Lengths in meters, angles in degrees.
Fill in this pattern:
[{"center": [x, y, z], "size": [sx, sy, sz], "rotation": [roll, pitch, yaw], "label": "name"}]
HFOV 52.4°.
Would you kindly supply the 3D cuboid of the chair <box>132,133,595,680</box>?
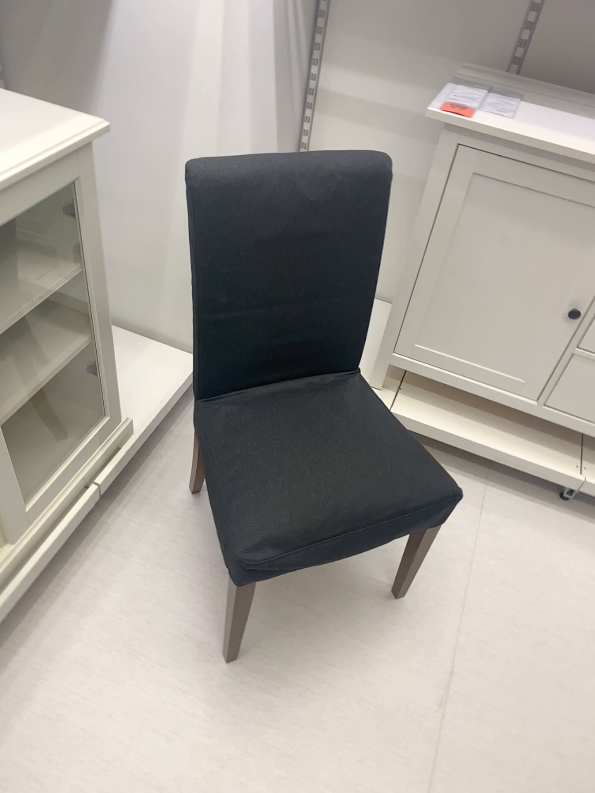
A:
[{"center": [0.030, 0.018, 1.230], "size": [0.540, 0.837, 0.612], "rotation": [-12, 48, -22], "label": "chair"}]
